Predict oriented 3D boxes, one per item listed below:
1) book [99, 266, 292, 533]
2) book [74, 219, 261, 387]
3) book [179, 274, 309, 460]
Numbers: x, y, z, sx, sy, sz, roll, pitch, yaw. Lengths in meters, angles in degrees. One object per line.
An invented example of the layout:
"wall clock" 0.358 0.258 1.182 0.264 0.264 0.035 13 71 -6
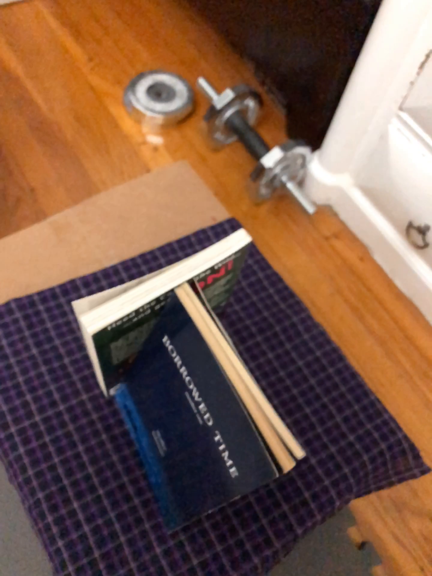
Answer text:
"book" -0.035 0.101 0.391 0.010 0.199 0.150 -14 64 -37
"book" -0.046 0.023 0.425 0.140 0.190 0.020 -28 75 -20
"book" 0.032 0.079 0.409 0.010 0.200 0.140 -34 68 -2
